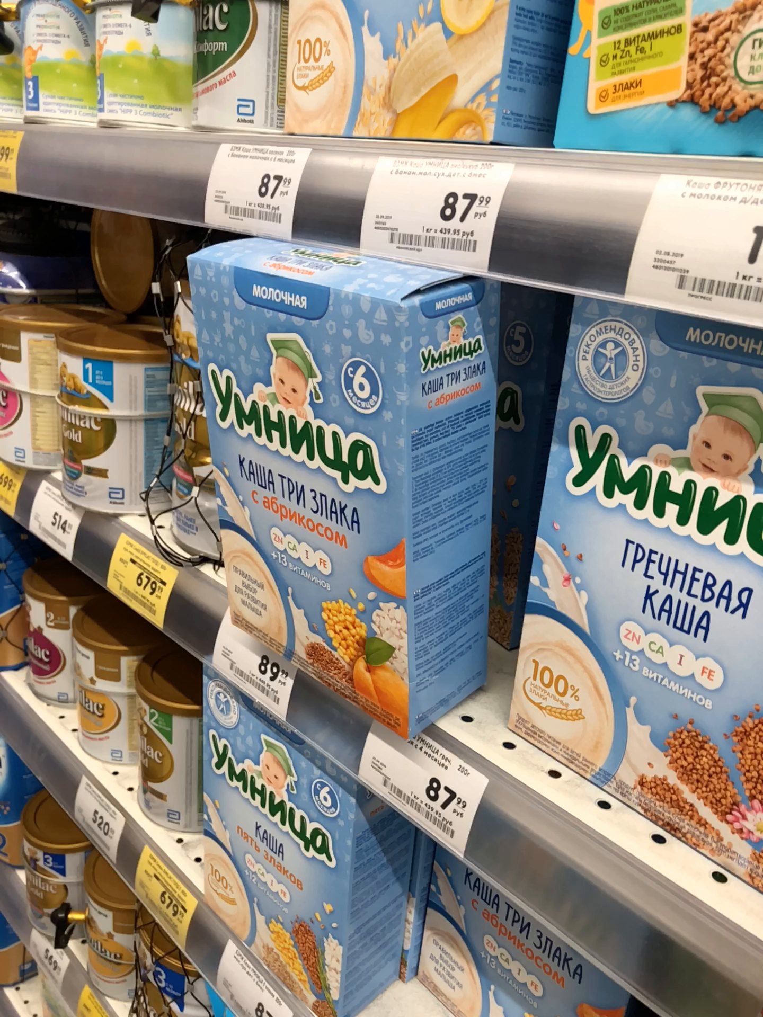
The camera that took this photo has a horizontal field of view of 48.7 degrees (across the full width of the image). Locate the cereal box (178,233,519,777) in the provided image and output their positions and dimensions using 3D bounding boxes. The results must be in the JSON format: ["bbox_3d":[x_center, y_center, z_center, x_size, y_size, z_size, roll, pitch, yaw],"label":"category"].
[{"bbox_3d":[-0.016,-0.007,0.389,0.060,0.209,0.140,-25,35,-37],"label":"cereal box"}]
